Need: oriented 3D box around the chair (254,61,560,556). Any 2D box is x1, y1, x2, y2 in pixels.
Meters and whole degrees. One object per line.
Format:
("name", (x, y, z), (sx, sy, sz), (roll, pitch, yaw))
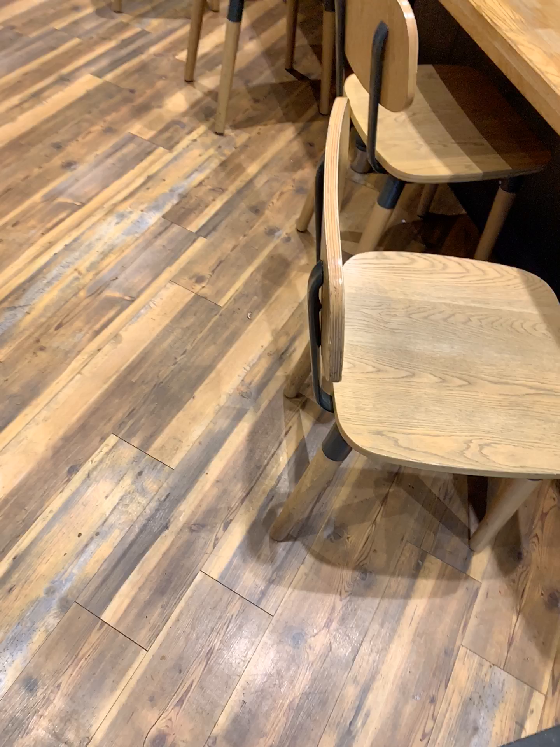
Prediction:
("chair", (0.240, -0.040, 0.945), (0.500, 0.685, 0.413), (6, 53, -1))
